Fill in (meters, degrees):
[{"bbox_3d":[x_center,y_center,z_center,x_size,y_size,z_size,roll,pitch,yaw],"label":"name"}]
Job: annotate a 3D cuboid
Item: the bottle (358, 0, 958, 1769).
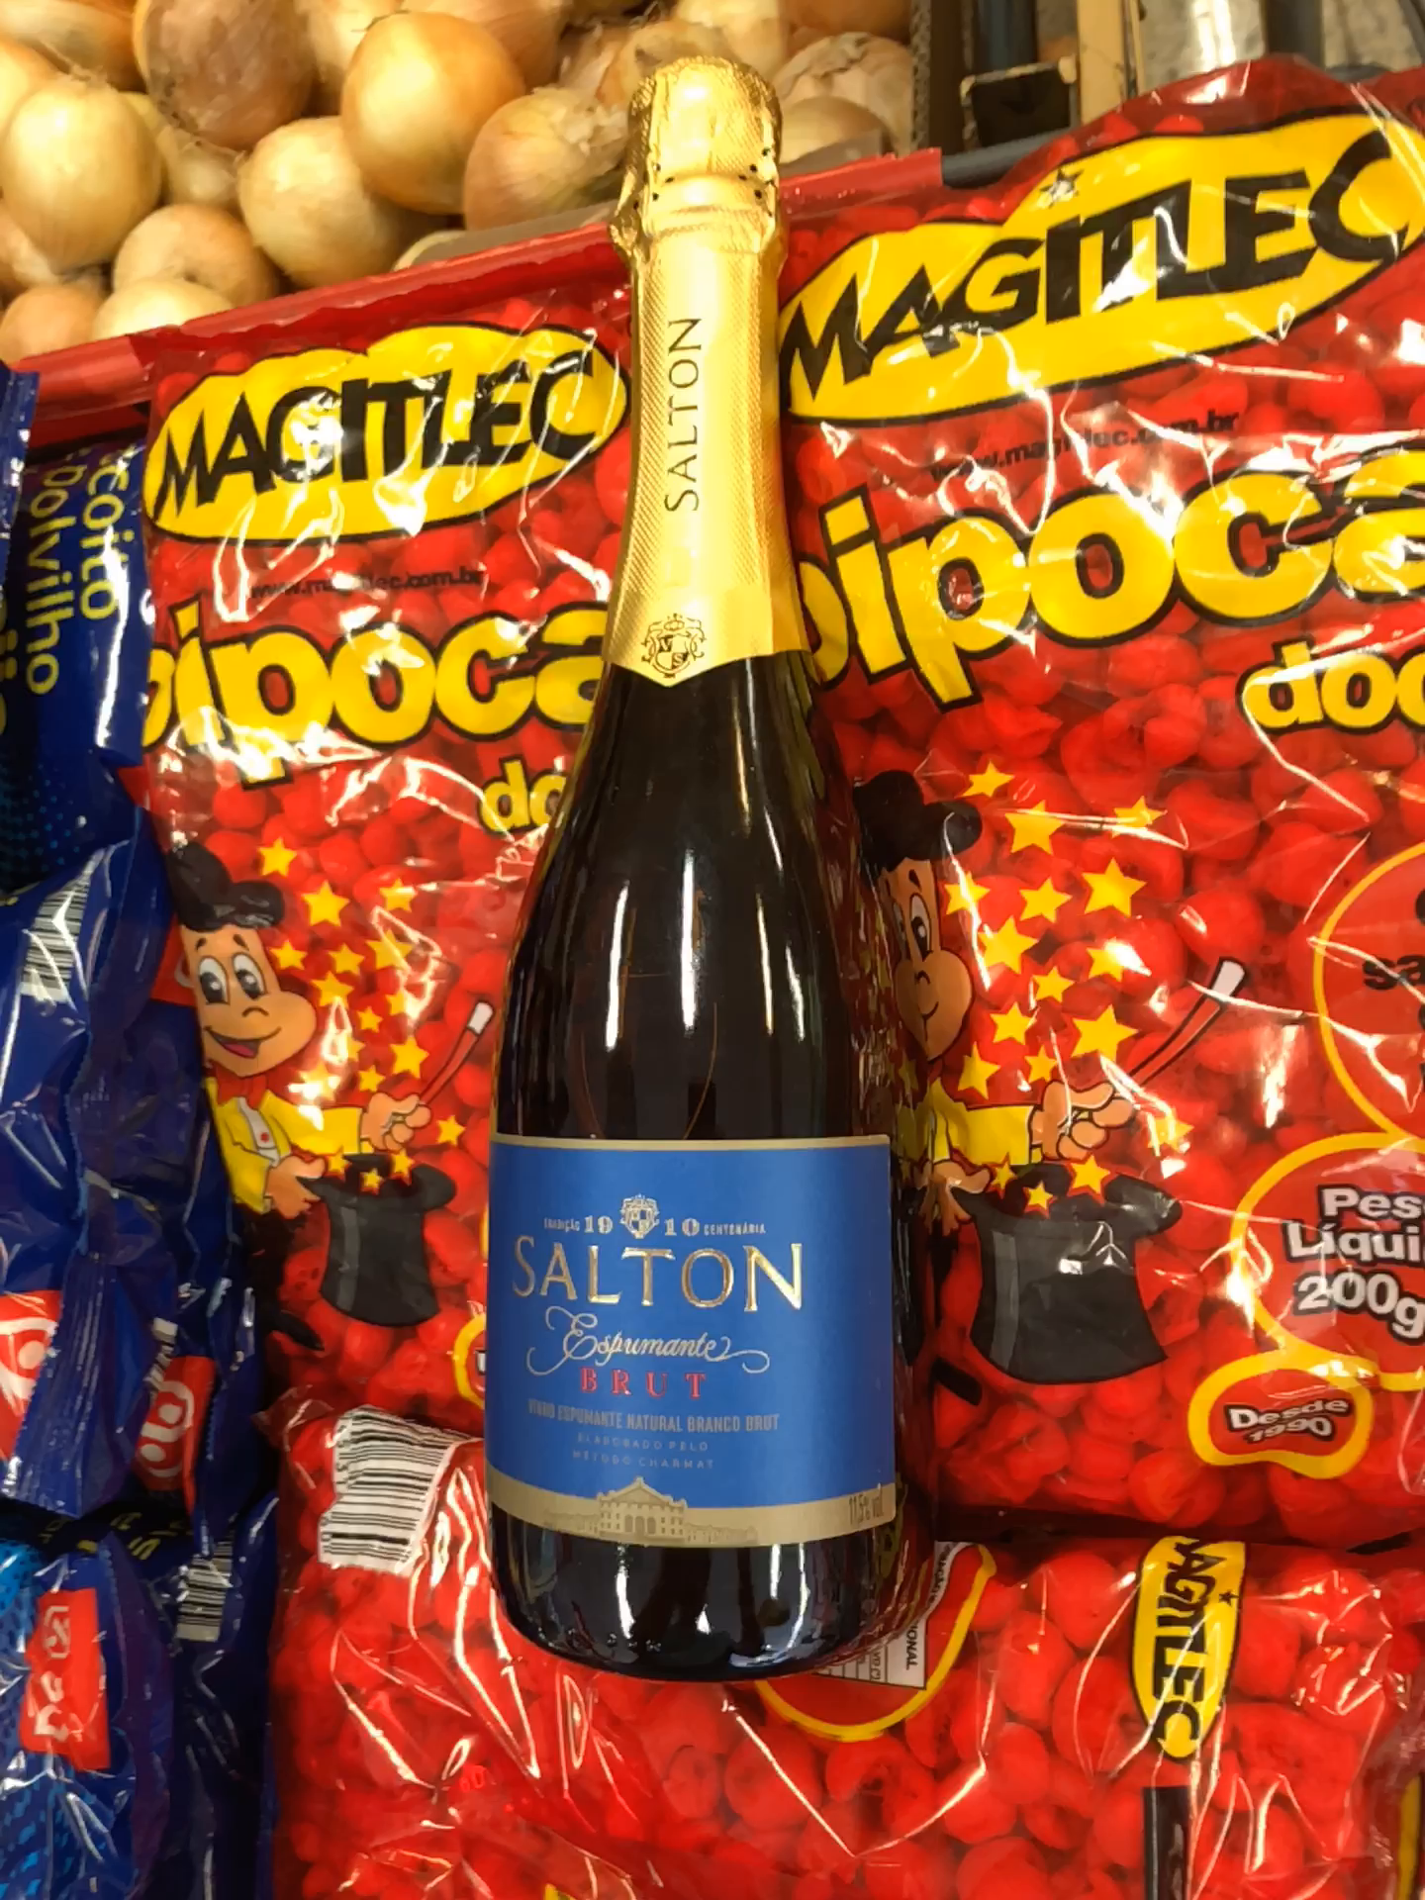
[{"bbox_3d":[-0.006,-0.023,0.307,0.090,0.080,0.310,-1,90,19],"label":"bottle"}]
